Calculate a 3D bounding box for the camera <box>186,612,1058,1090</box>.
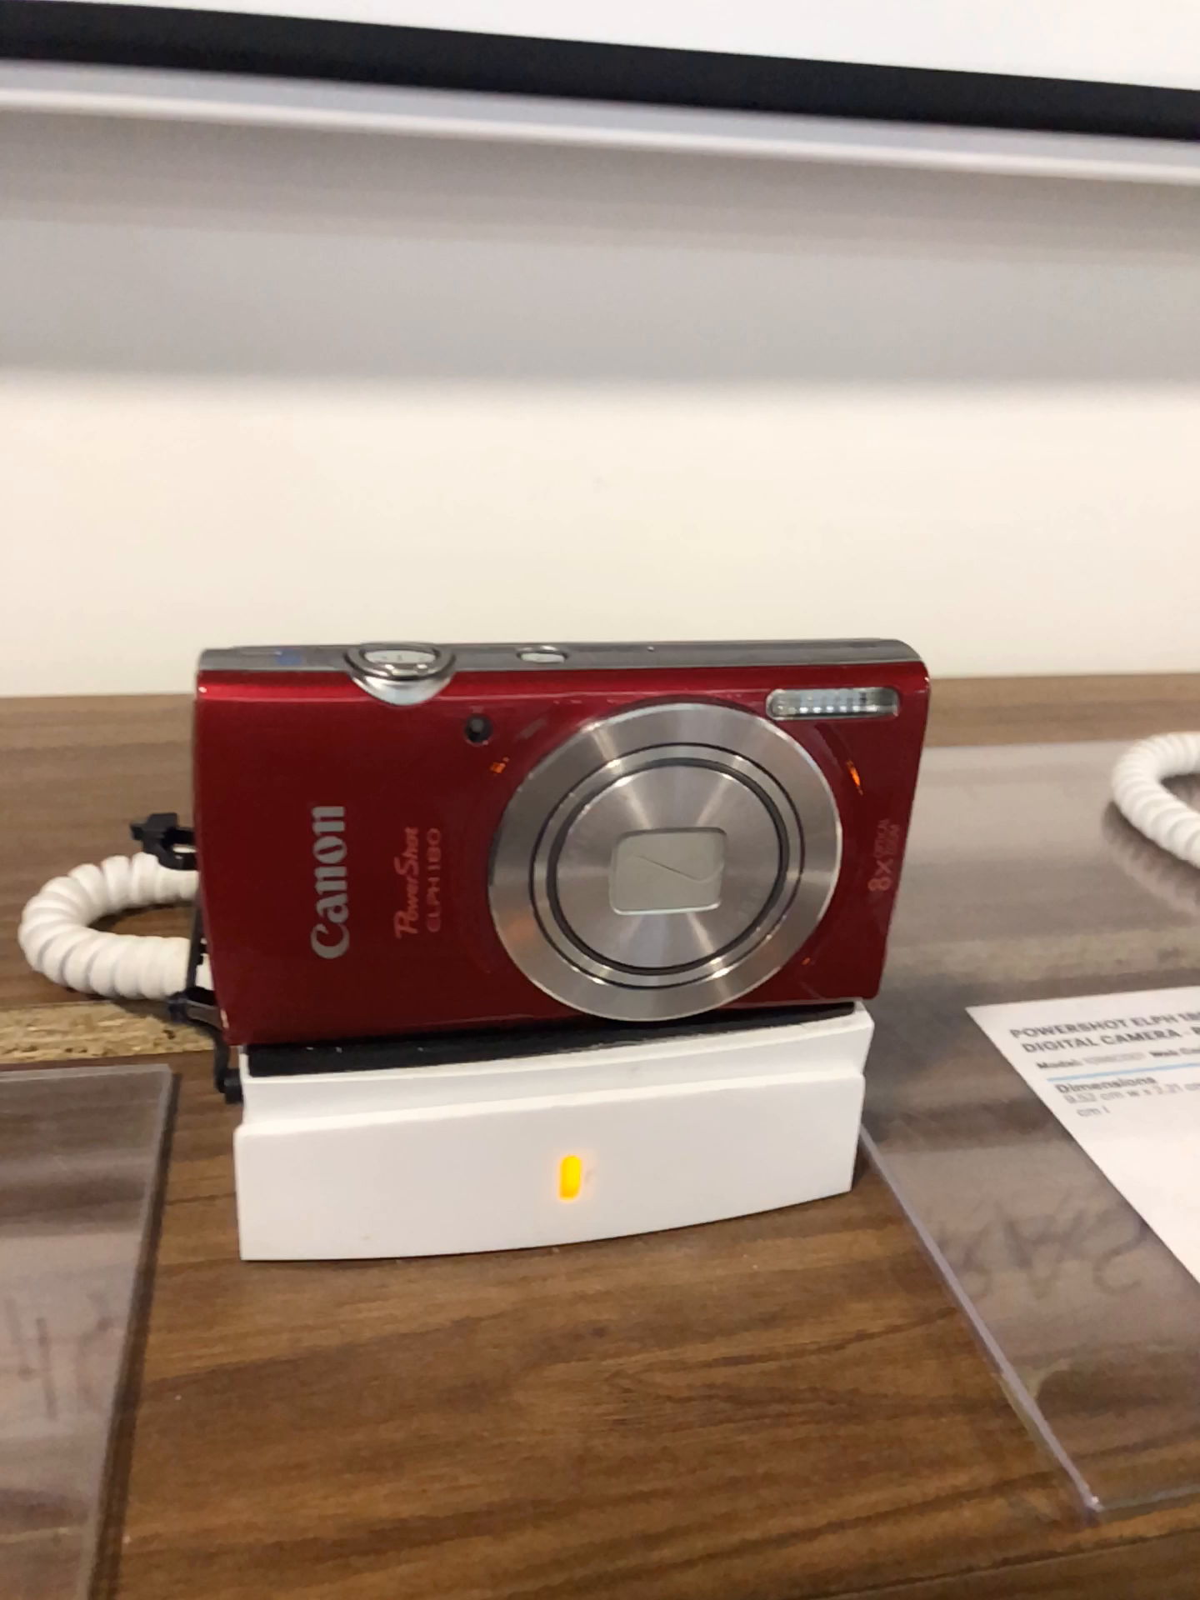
[{"bbox_3d":[0.002,0.004,0.173,0.100,0.050,0.030,-2,22,-11],"label":"camera"}]
